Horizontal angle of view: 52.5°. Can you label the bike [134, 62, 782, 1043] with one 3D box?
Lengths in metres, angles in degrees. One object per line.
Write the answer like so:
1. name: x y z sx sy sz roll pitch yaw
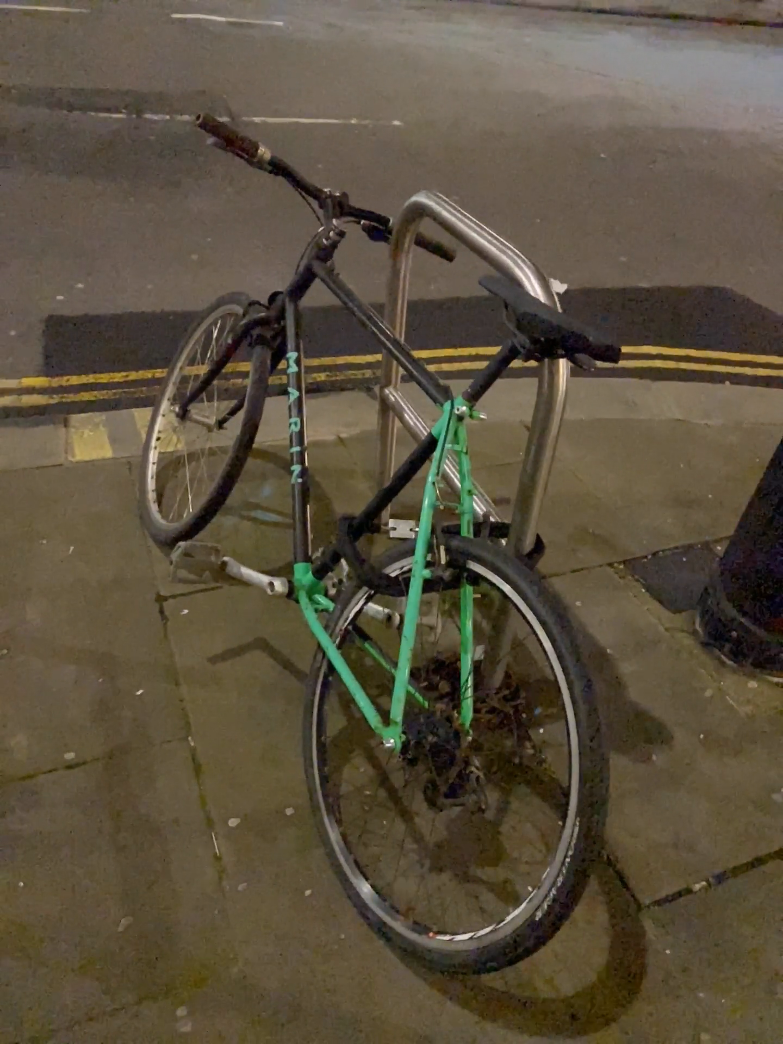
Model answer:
1. bike: 0.071 -0.187 1.594 0.640 1.014 1.693 -15 42 -24
